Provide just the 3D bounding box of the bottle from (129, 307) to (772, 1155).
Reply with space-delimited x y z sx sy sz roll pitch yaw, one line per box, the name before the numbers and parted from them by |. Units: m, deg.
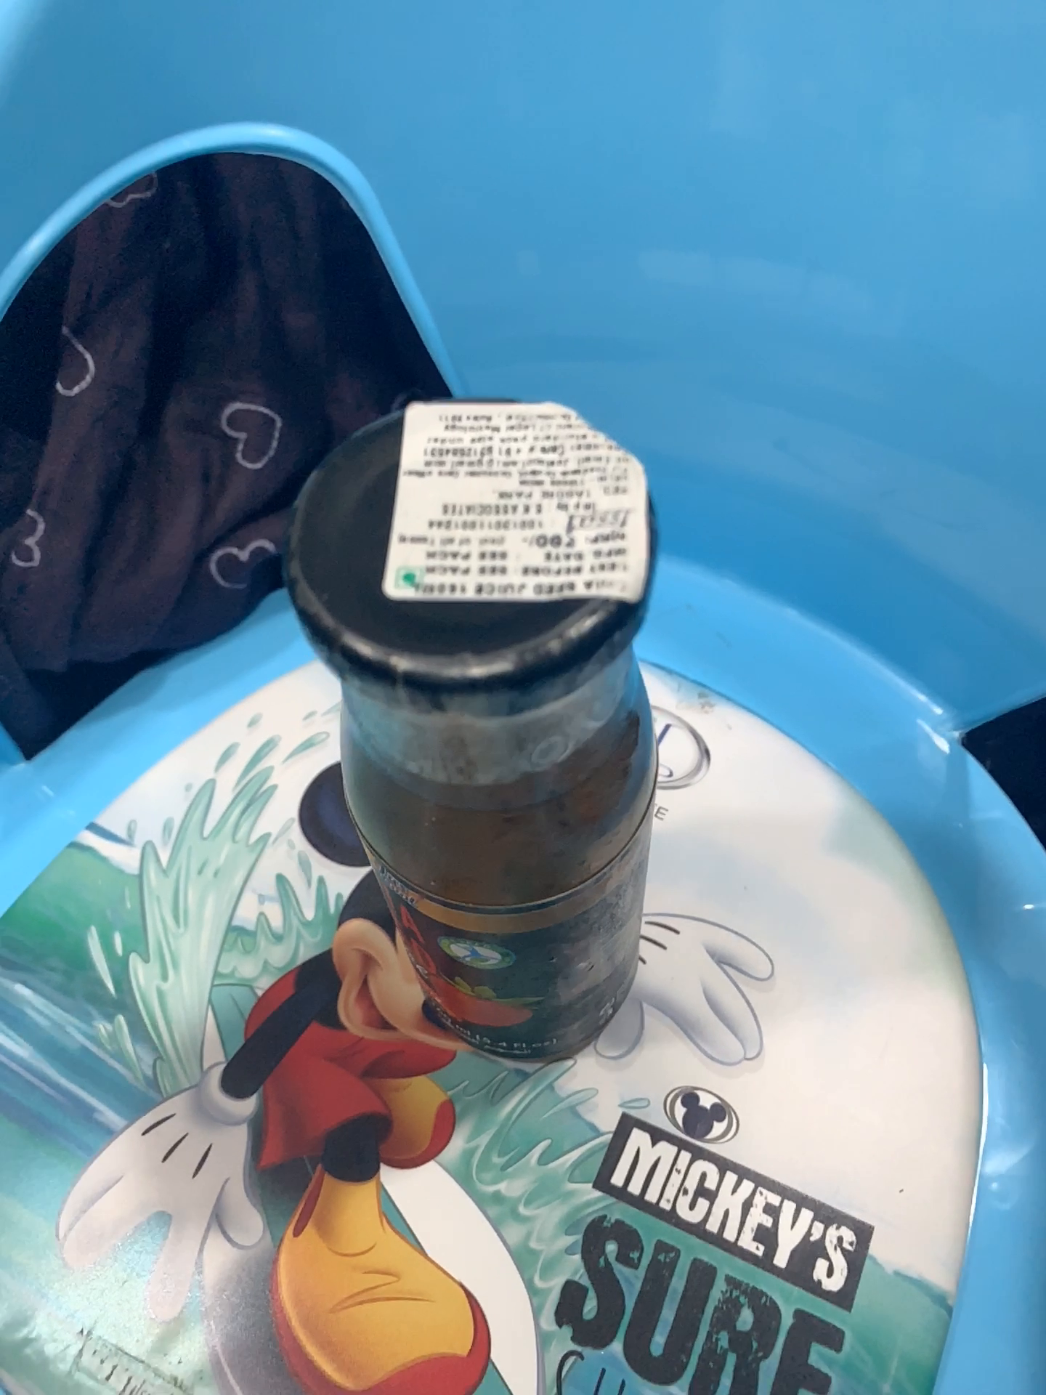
bottle | -0.008 0.017 0.168 0.050 0.130 0.050 0 53 0
